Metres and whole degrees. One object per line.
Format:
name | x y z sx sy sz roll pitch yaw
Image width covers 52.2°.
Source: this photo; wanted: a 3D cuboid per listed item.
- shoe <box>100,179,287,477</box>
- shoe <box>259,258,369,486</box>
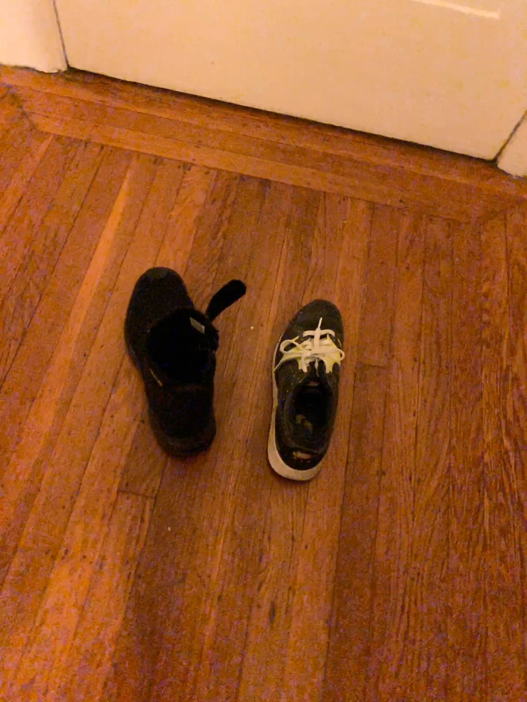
shoe | -0.105 -0.024 0.738 0.160 0.240 0.311 -10 65 -13
shoe | 0.073 0.026 0.753 0.120 0.100 0.291 8 63 -4
